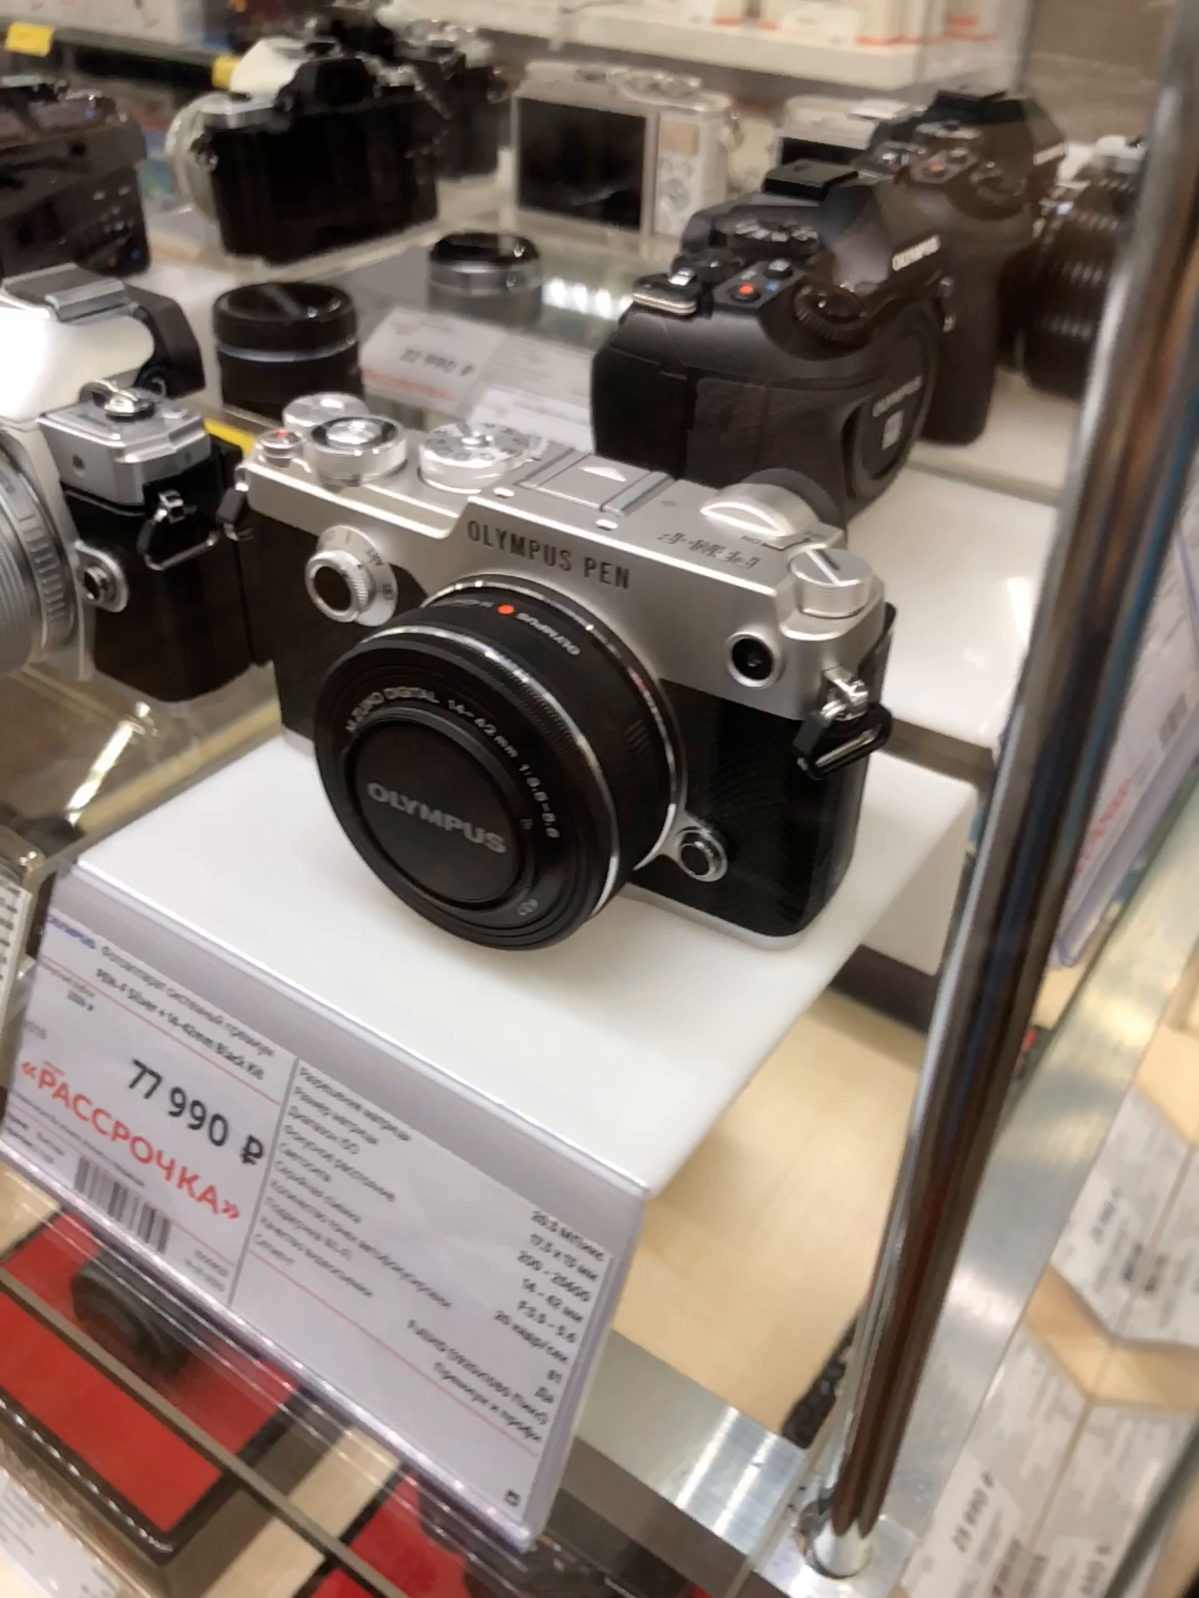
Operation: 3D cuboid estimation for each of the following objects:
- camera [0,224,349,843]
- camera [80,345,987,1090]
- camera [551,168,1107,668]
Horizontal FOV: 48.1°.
[{"bbox_3d":[-0.139,-0.068,0.296,0.127,0.075,0.099,24,41,27],"label":"camera"},{"bbox_3d":[-0.012,-0.024,0.239,0.127,0.070,0.077,22,40,25],"label":"camera"},{"bbox_3d":[0.059,-0.104,0.341,0.083,0.075,0.128,23,40,26],"label":"camera"}]
